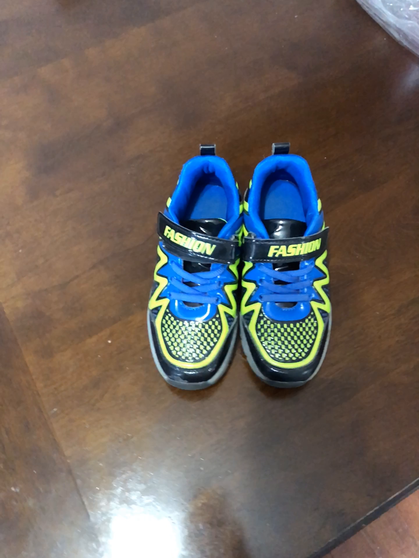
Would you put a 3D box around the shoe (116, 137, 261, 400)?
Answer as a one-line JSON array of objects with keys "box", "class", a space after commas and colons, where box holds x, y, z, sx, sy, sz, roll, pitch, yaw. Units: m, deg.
[{"box": [-0.009, -0.008, 0.435, 0.100, 0.120, 0.210, 3, 65, 3], "class": "shoe"}]

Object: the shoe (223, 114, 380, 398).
[{"box": [0.069, -0.020, 0.435, 0.090, 0.120, 0.230, -5, 65, -1], "class": "shoe"}]
